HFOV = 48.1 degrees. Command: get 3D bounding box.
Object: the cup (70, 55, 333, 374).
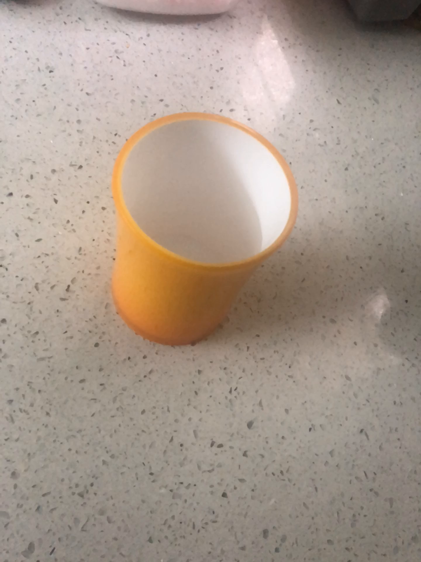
[{"bbox_3d":[-0.009,-0.019,0.216,0.080,0.110,0.080,5,65,-11],"label":"cup"}]
